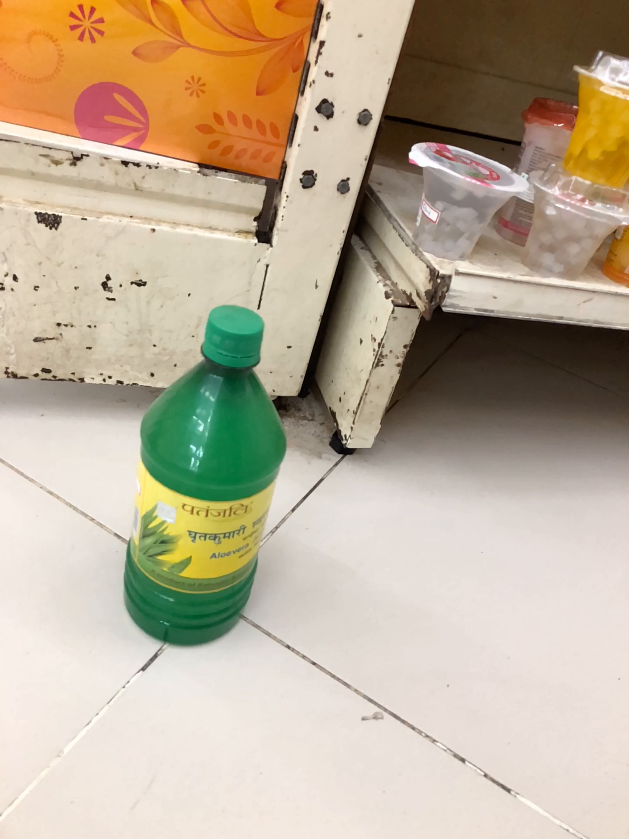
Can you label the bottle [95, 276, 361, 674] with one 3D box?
[{"bbox_3d":[-0.067,0.036,0.434,0.101,0.218,0.100,10,35,-7],"label":"bottle"}]
